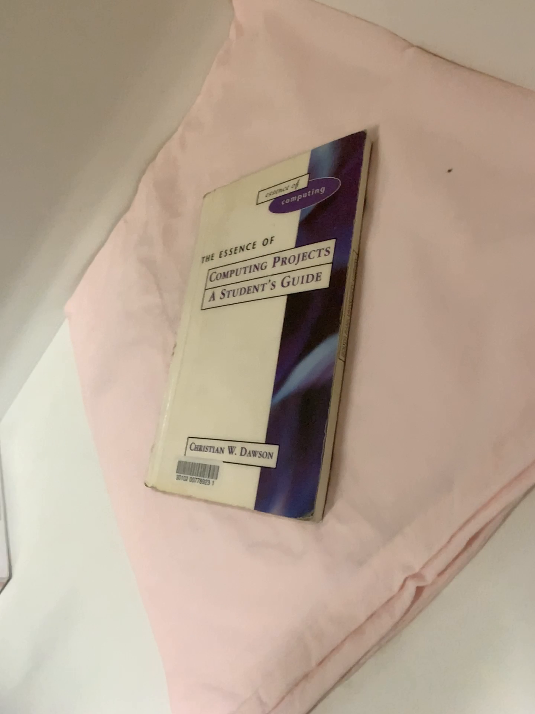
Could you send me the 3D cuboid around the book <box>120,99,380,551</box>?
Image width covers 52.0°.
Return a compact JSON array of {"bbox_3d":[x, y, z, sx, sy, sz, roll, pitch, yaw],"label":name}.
[{"bbox_3d":[-0.017,-0.023,0.367,0.171,0.020,0.261,-6,69,46],"label":"book"}]
